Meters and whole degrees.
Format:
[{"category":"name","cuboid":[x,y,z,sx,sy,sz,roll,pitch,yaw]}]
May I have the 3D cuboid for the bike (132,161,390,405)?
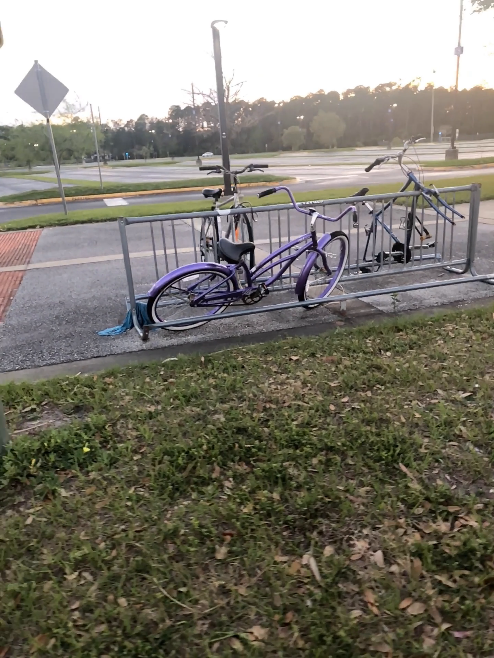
[{"category":"bike","cuboid":[0.119,-0.452,3.789,1.702,1.117,0.852,-16,21,-24]}]
